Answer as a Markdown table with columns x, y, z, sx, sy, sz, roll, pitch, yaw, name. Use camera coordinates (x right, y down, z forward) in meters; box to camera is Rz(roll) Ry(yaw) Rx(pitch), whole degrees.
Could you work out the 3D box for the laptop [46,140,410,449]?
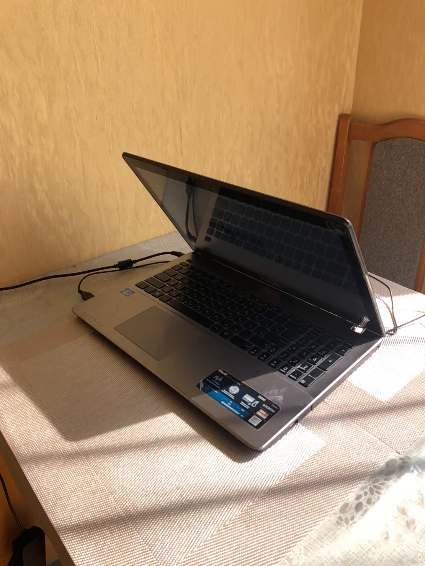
| x | y | z | sx | sy | sz | roll | pitch | yaw | name |
| --- | --- | --- | --- | --- | --- | --- | --- | --- | --- |
| 0.003 | -0.030 | 0.600 | 0.241 | 0.197 | 0.364 | -28 | 39 | -35 | laptop |
